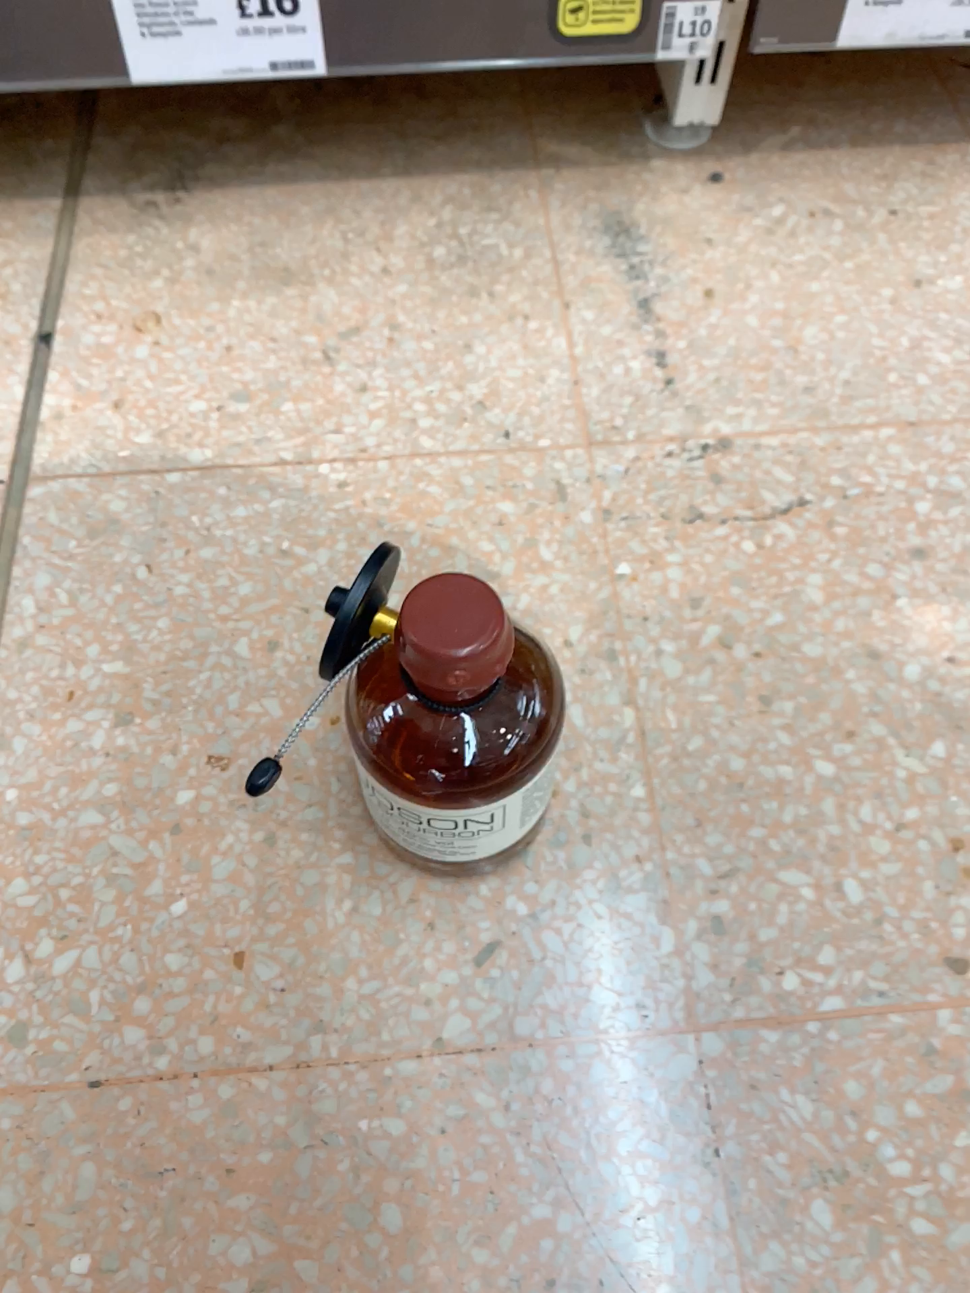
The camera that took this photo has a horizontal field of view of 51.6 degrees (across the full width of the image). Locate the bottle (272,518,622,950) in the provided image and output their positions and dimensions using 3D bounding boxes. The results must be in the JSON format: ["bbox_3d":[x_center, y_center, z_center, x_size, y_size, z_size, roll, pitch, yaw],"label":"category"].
[{"bbox_3d":[-0.010,0.038,0.349,0.075,0.142,0.073,0,60,0],"label":"bottle"}]
